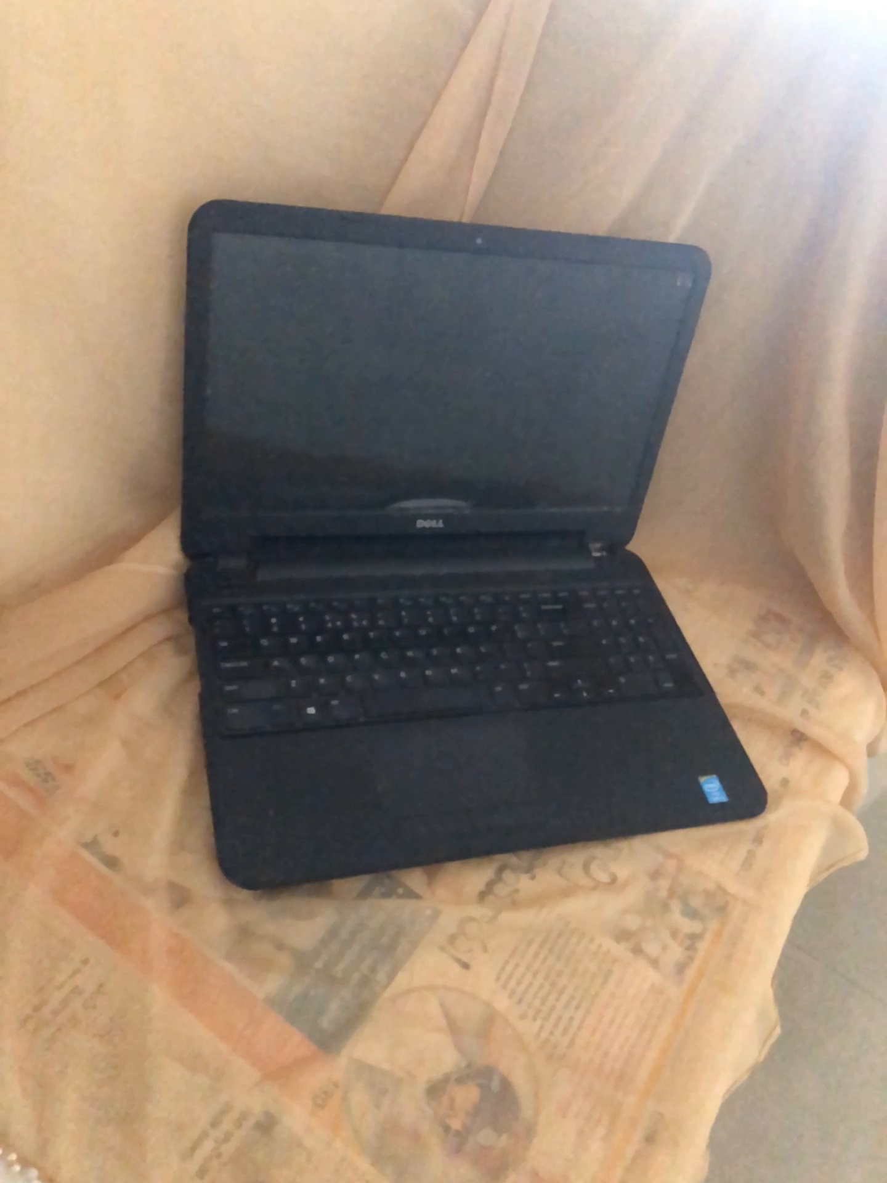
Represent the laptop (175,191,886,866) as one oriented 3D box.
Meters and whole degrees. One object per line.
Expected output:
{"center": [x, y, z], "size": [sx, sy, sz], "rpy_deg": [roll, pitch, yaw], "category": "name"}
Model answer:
{"center": [0.028, -0.049, 0.615], "size": [0.348, 0.225, 0.307], "rpy_deg": [-2, 47, -20], "category": "laptop"}
